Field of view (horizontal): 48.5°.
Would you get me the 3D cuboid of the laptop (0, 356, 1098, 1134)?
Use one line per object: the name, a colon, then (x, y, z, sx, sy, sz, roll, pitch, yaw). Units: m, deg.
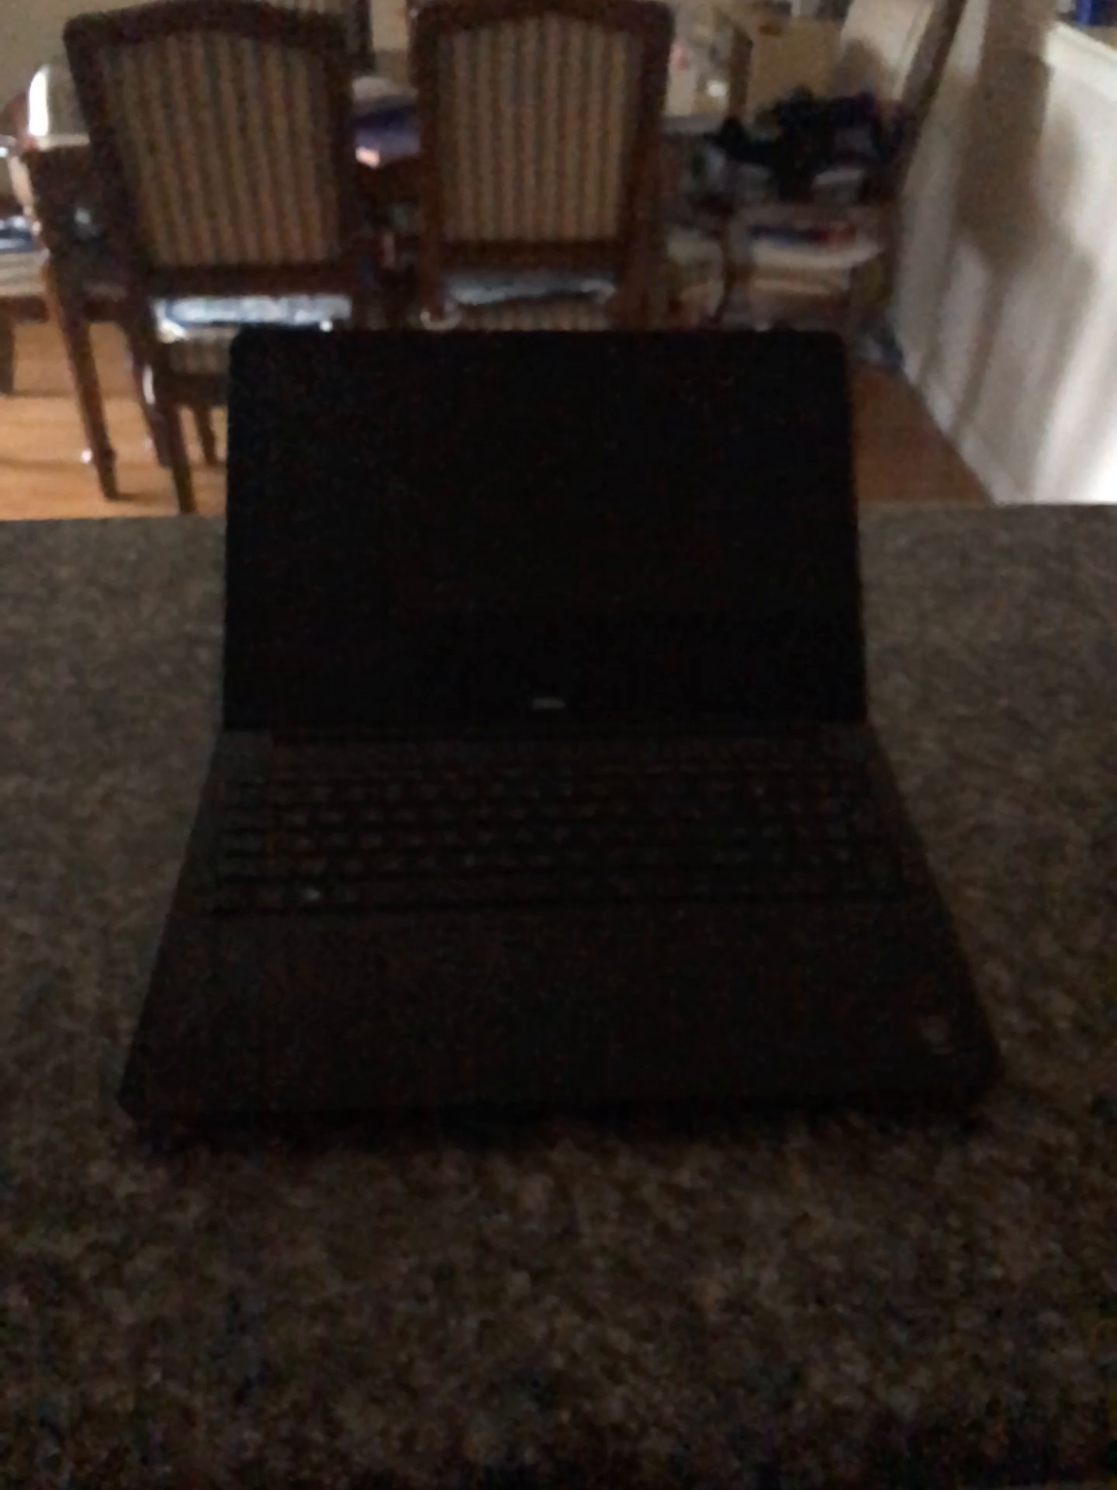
laptop: (-0.011, -0.039, 0.613, 0.361, 0.158, 0.416, -1, 38, -3)
